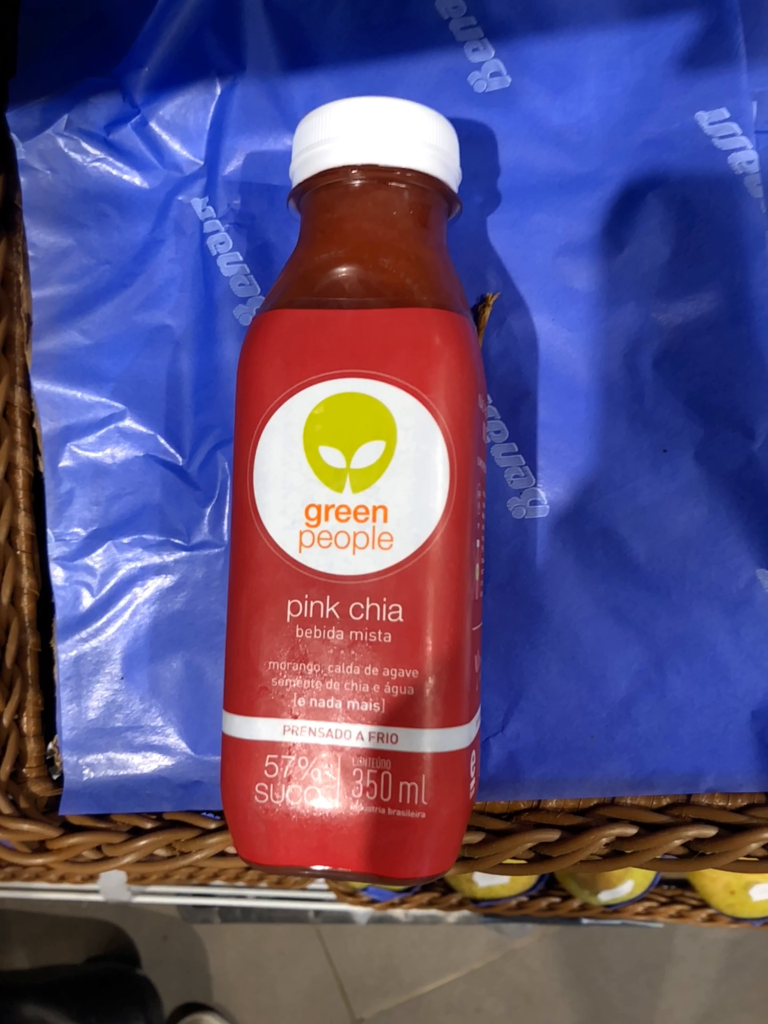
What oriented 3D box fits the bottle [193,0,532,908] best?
[{"bbox_3d":[0.001,-0.019,0.204,0.060,0.060,0.190,1,86,13],"label":"bottle"}]
